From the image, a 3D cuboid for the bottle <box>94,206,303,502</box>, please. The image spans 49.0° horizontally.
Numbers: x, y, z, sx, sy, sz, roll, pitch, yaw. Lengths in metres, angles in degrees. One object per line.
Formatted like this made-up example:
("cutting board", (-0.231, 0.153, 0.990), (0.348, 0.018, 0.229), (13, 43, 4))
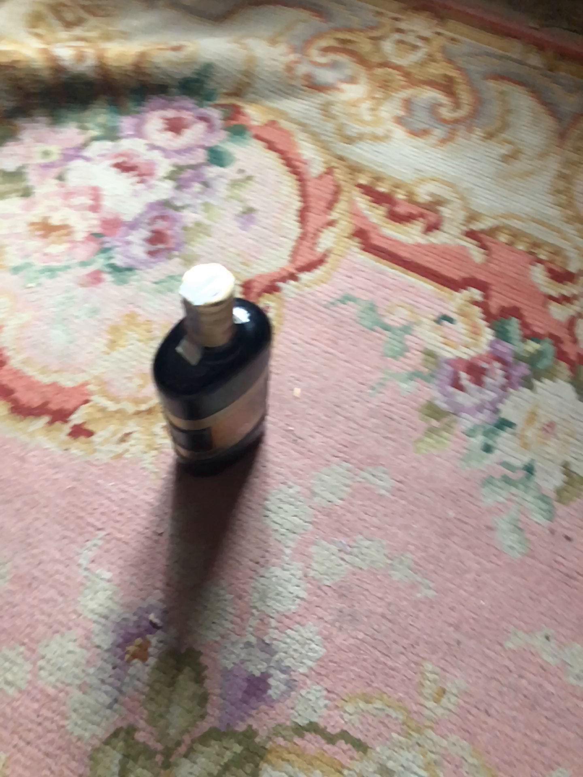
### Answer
("bottle", (-0.053, -0.005, 0.445), (0.100, 0.239, 0.050), (-37, 71, -19))
